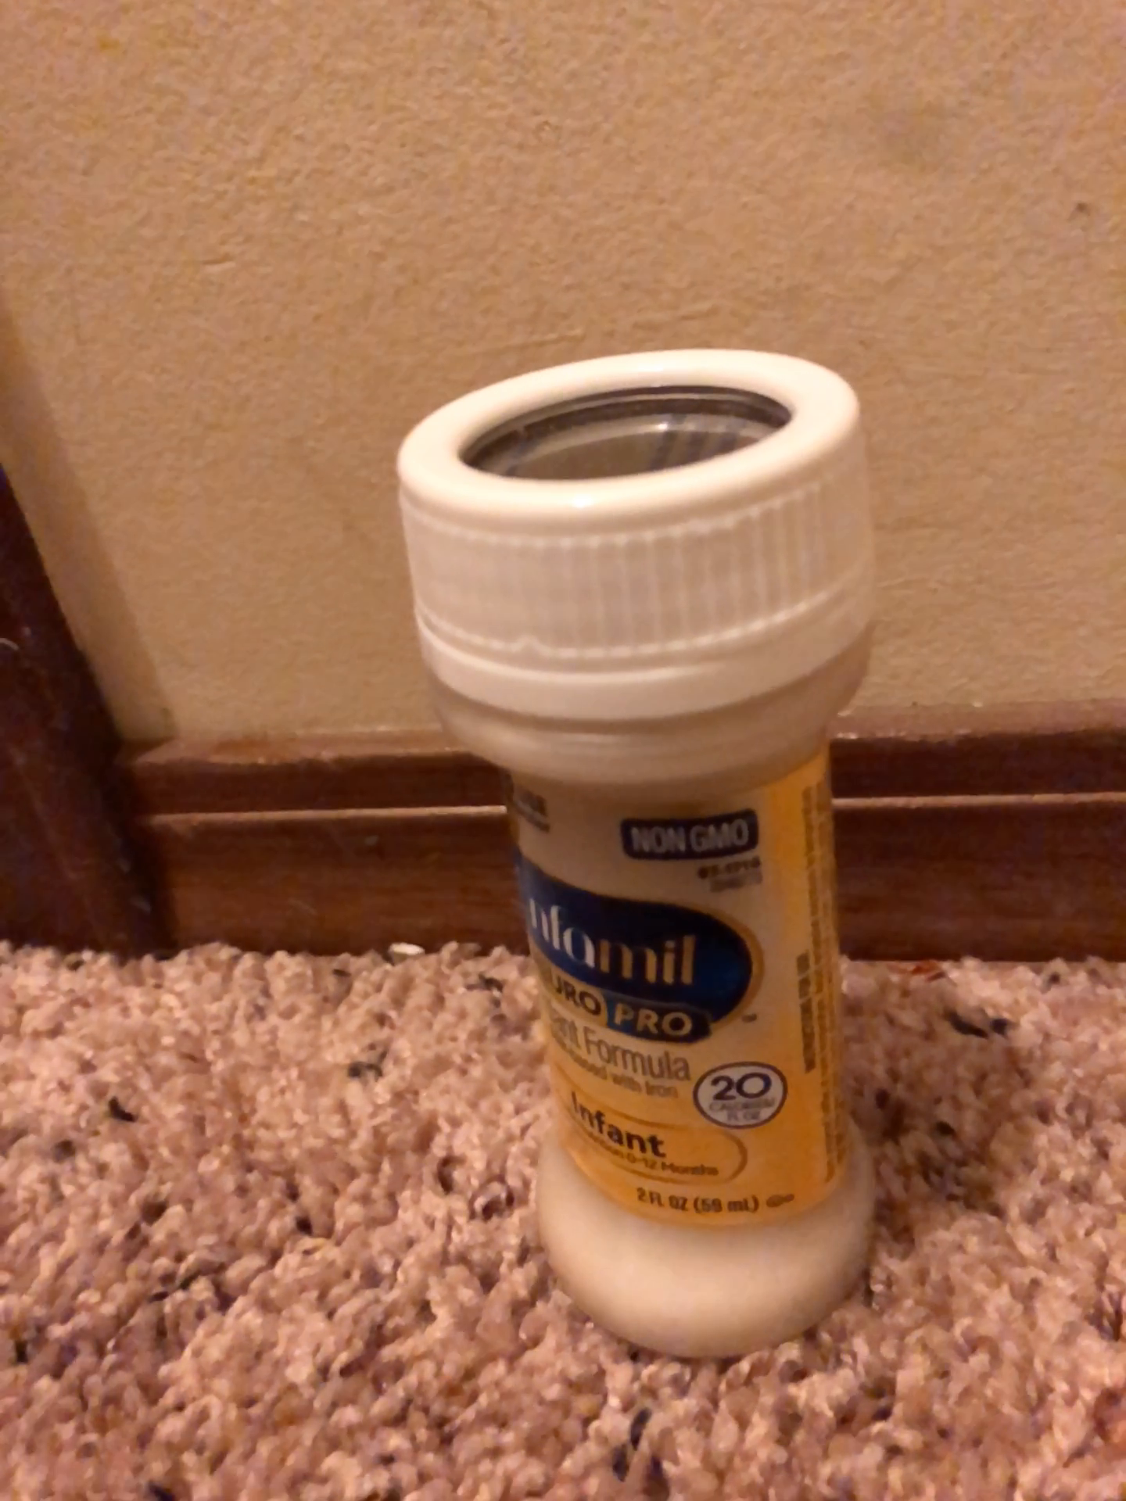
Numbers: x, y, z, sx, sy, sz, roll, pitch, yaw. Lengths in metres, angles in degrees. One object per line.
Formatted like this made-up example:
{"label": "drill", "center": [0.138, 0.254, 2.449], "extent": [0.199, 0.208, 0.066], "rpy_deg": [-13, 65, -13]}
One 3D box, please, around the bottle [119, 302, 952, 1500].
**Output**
{"label": "bottle", "center": [0.006, 0.017, 0.135], "extent": [0.050, 0.110, 0.050], "rpy_deg": [-8, 32, 5]}
